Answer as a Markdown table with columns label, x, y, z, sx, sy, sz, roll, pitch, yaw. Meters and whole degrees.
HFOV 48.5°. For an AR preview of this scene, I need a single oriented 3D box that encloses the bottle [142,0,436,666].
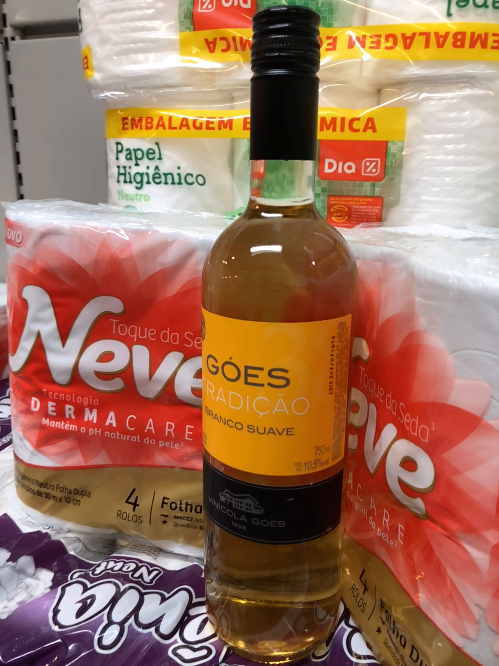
| label | x | y | z | sx | sy | sz | roll | pitch | yaw |
| --- | --- | --- | --- | --- | --- | --- | --- | --- | --- |
| bottle | 0.021 | 0.013 | 0.277 | 0.090 | 0.318 | 0.090 | -1 | 14 | 0 |
